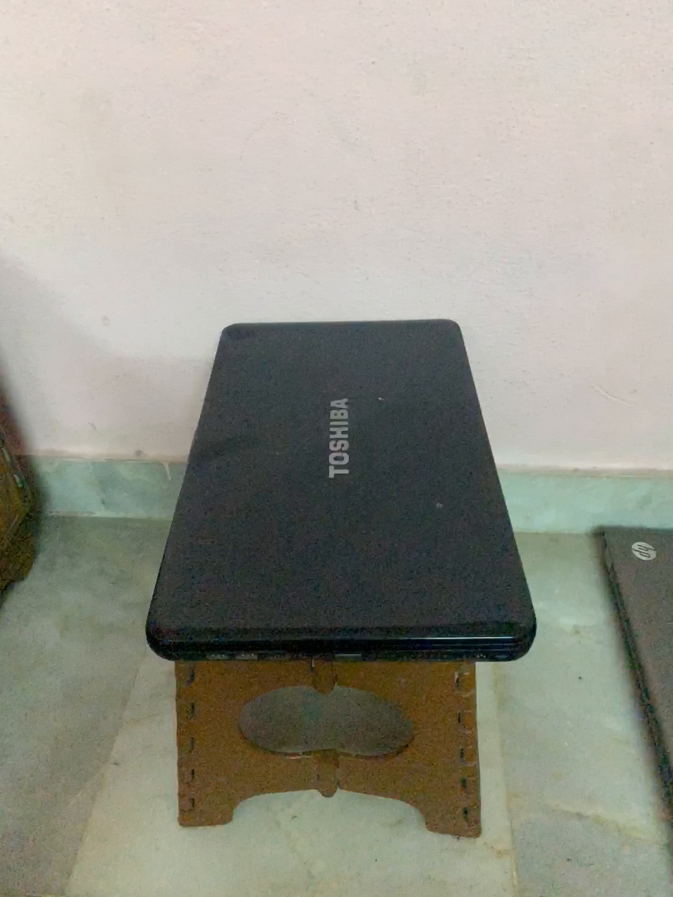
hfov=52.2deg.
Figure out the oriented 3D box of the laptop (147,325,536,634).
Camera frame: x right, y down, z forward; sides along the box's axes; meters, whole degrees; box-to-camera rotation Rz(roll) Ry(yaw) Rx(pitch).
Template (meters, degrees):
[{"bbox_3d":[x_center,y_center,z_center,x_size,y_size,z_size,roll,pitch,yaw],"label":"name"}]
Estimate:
[{"bbox_3d":[0.003,-0.006,0.559,0.236,0.001,0.370,-1,40,1],"label":"laptop"}]
